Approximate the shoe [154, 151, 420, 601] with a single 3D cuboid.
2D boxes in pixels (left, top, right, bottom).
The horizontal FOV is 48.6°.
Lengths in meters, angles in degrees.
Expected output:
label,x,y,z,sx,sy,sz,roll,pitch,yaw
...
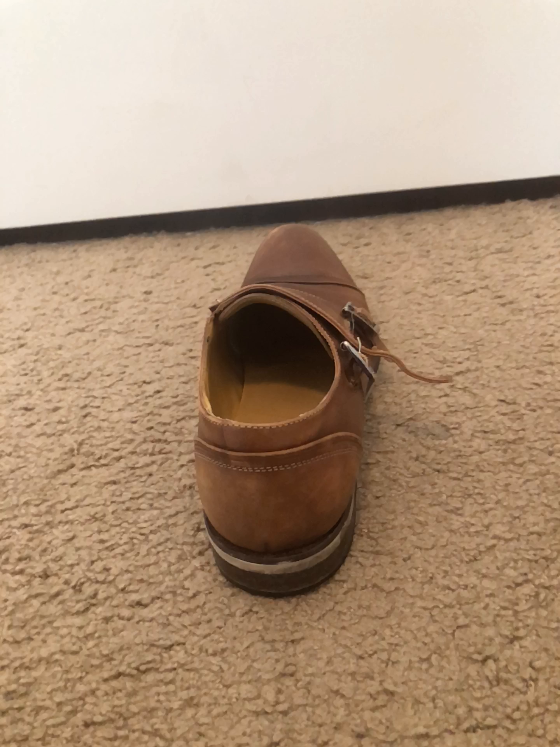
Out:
label,x,y,z,sx,sy,sz,roll,pitch,yaw
shoe,0.014,-0.025,0.374,0.099,0.107,0.287,-4,39,6
